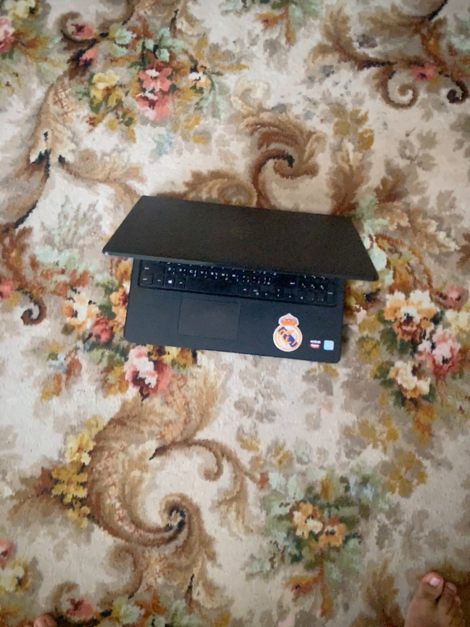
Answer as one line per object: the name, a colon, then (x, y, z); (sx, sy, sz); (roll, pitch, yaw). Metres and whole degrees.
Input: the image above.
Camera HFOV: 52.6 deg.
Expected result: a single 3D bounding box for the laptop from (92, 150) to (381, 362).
laptop: (0.008, -0.071, 0.732); (0.366, 0.194, 0.251); (6, 82, -1)
